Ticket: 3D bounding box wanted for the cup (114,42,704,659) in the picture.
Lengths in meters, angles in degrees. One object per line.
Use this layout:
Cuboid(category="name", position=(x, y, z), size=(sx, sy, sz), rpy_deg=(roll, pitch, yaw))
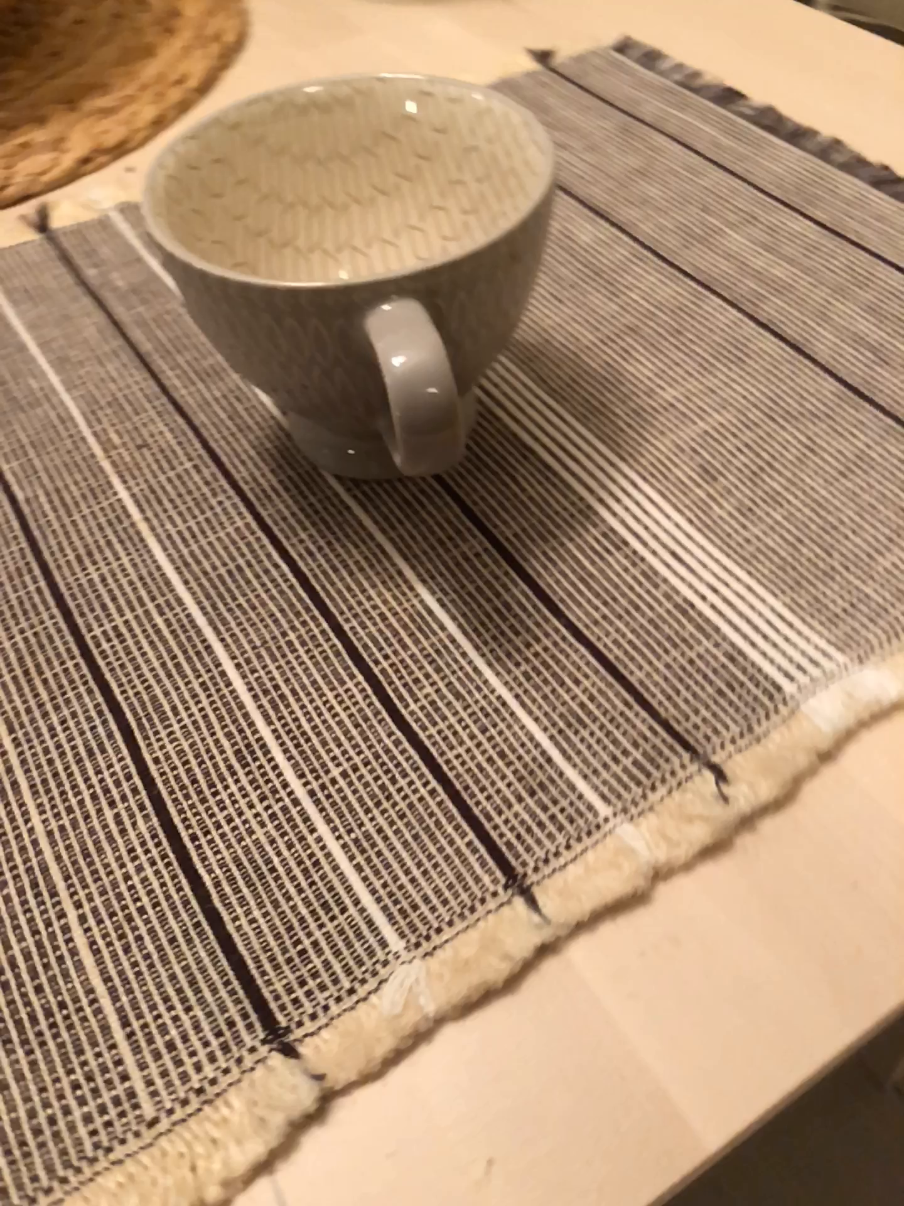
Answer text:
Cuboid(category="cup", position=(-0.020, -0.080, 0.289), size=(0.110, 0.080, 0.151), rpy_deg=(-17, 51, -11))
